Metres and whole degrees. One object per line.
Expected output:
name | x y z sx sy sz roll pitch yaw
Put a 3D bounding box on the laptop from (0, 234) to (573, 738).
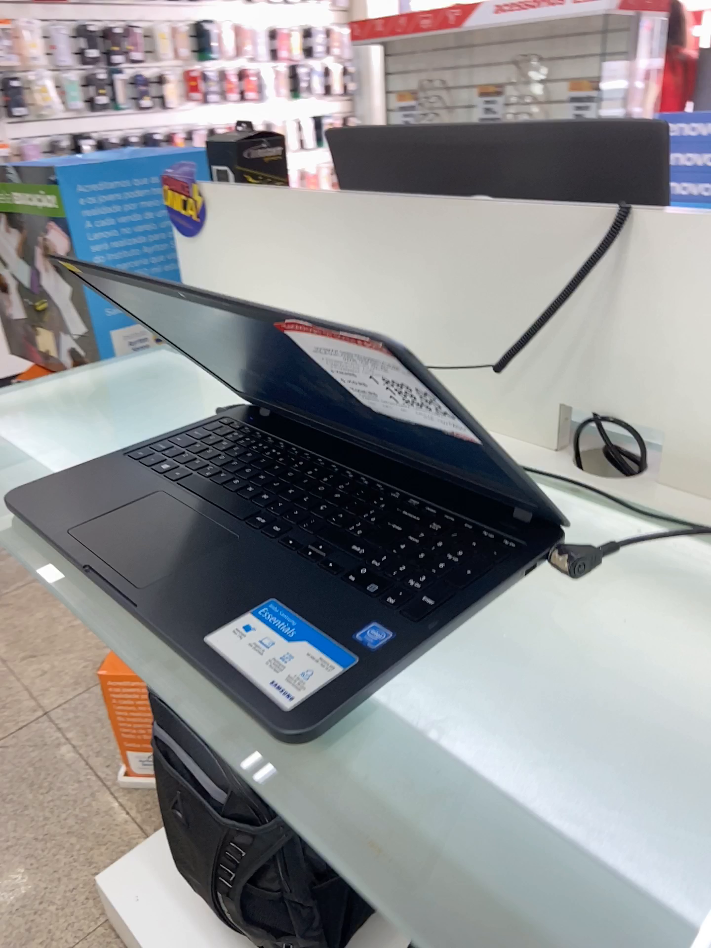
laptop | -0.082 -0.047 0.519 0.246 0.173 0.373 -26 34 -37
